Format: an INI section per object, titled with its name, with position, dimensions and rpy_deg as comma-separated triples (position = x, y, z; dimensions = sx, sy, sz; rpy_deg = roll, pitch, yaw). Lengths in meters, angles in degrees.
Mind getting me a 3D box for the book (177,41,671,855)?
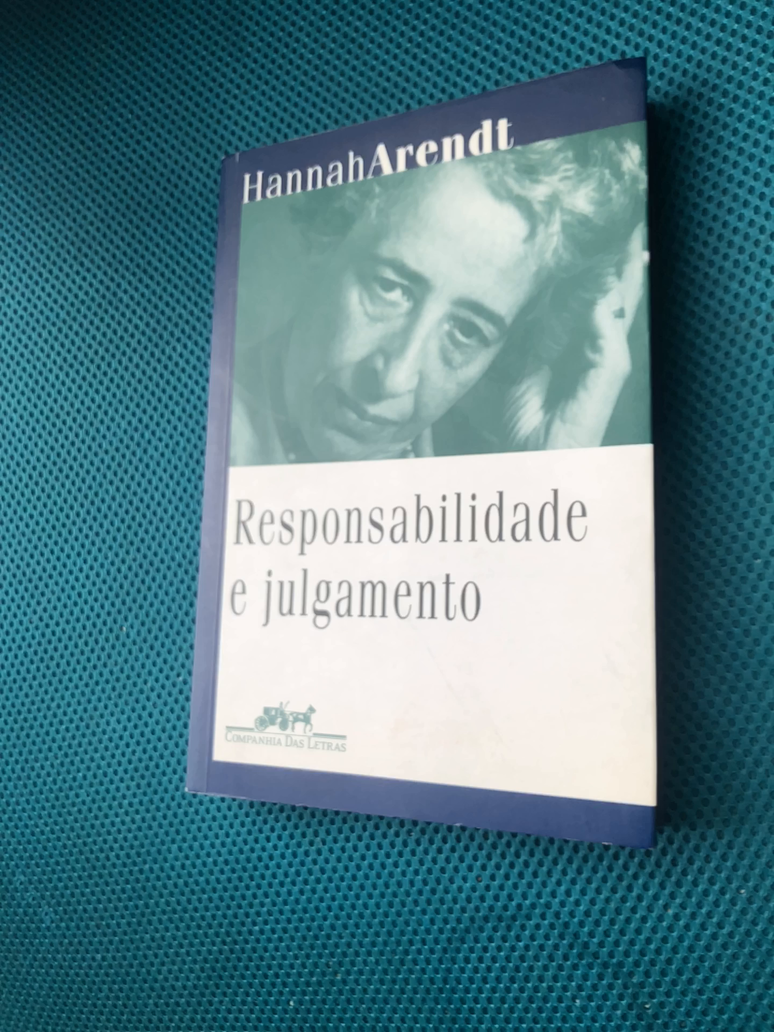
[book]
position = 0.009, -0.019, 0.265
dimensions = 0.142, 0.035, 0.209
rpy_deg = -2, 83, 25
